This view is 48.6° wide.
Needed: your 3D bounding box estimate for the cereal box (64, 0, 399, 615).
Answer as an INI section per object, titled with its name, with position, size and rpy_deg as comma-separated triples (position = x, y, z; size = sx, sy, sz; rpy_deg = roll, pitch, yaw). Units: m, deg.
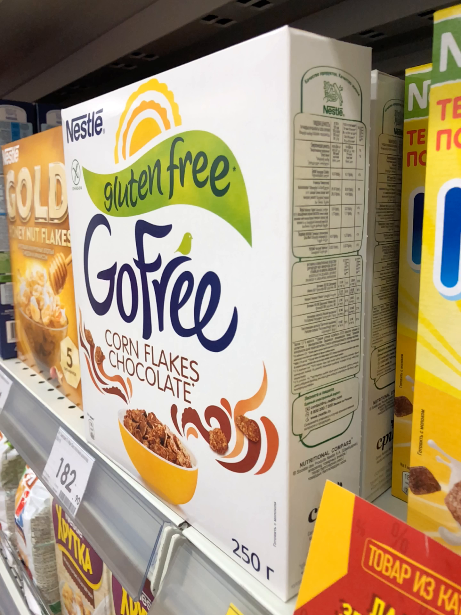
[cereal box]
position = -0.020, -0.002, 0.265
size = 0.050, 0.219, 0.200
rpy_deg = -8, 13, -36
